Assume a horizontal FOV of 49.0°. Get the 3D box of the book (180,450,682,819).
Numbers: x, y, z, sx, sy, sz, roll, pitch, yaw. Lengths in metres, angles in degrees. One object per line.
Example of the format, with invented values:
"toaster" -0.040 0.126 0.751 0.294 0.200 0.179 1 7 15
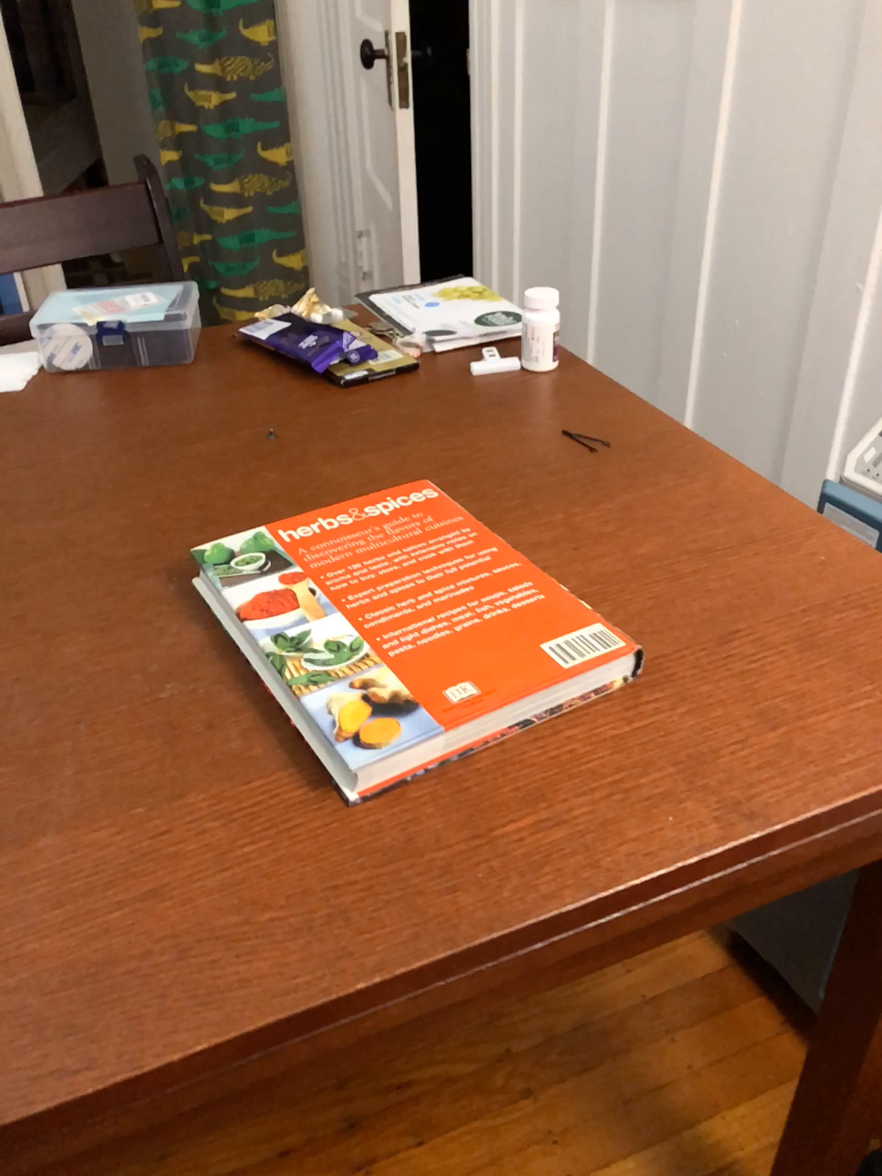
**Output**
"book" -0.020 0.005 0.621 0.210 0.040 0.271 -19 38 -24
